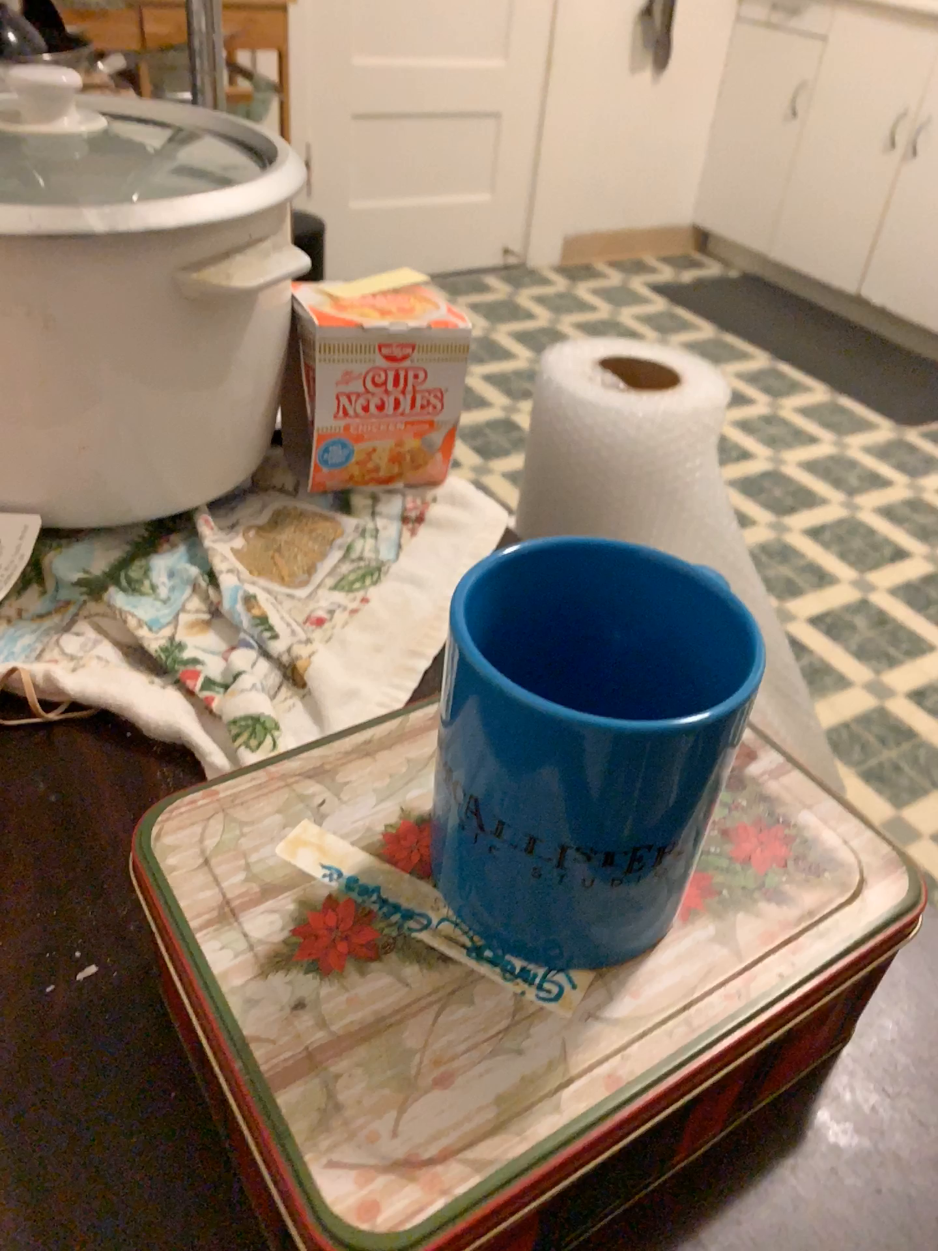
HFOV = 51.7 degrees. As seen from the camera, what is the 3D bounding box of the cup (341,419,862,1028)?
[{"bbox_3d":[0.039,0.019,0.290,0.090,0.099,0.131,25,41,23],"label":"cup"}]
